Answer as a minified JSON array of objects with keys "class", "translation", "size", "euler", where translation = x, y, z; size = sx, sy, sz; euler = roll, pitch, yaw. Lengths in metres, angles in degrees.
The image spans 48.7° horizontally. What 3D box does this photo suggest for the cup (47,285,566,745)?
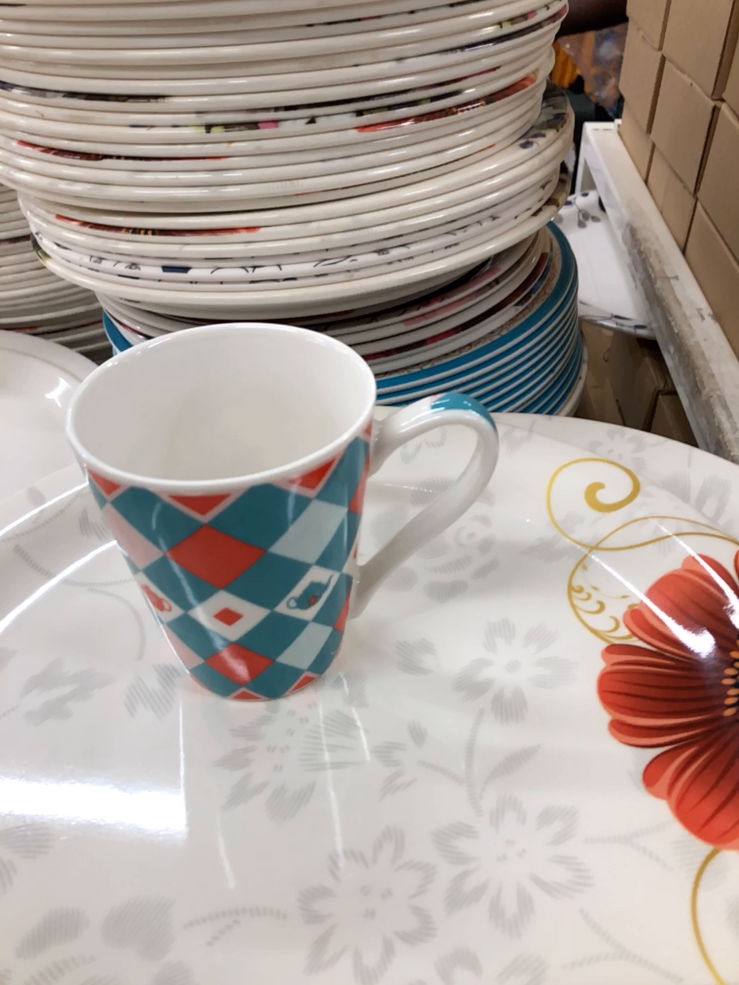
[{"class":"cup","translation":[-0.020,0.004,0.263],"size":[0.130,0.099,0.080],"euler":[-10,40,-10]}]
